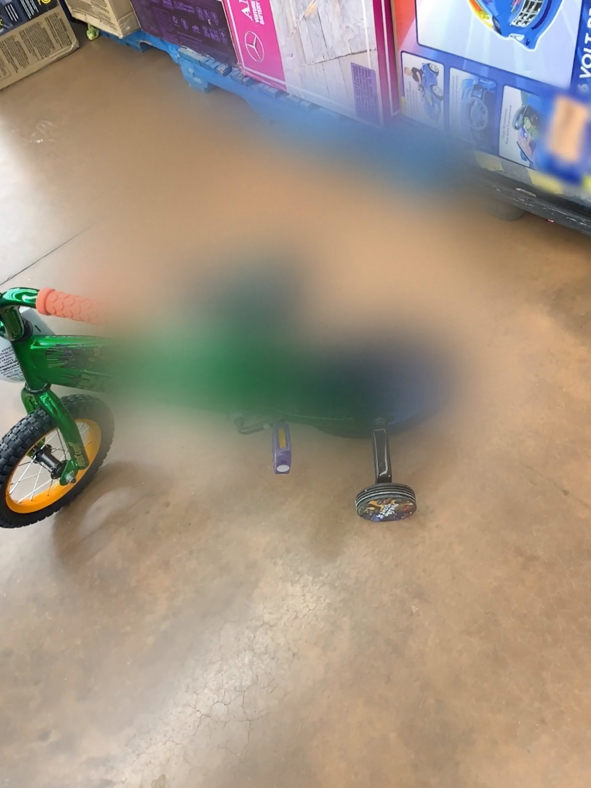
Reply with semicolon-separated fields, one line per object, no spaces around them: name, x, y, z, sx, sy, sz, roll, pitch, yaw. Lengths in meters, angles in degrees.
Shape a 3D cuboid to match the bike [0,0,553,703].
bike;-0.165;-0.016;0.862;0.828;0.677;0.533;-13;52;3
